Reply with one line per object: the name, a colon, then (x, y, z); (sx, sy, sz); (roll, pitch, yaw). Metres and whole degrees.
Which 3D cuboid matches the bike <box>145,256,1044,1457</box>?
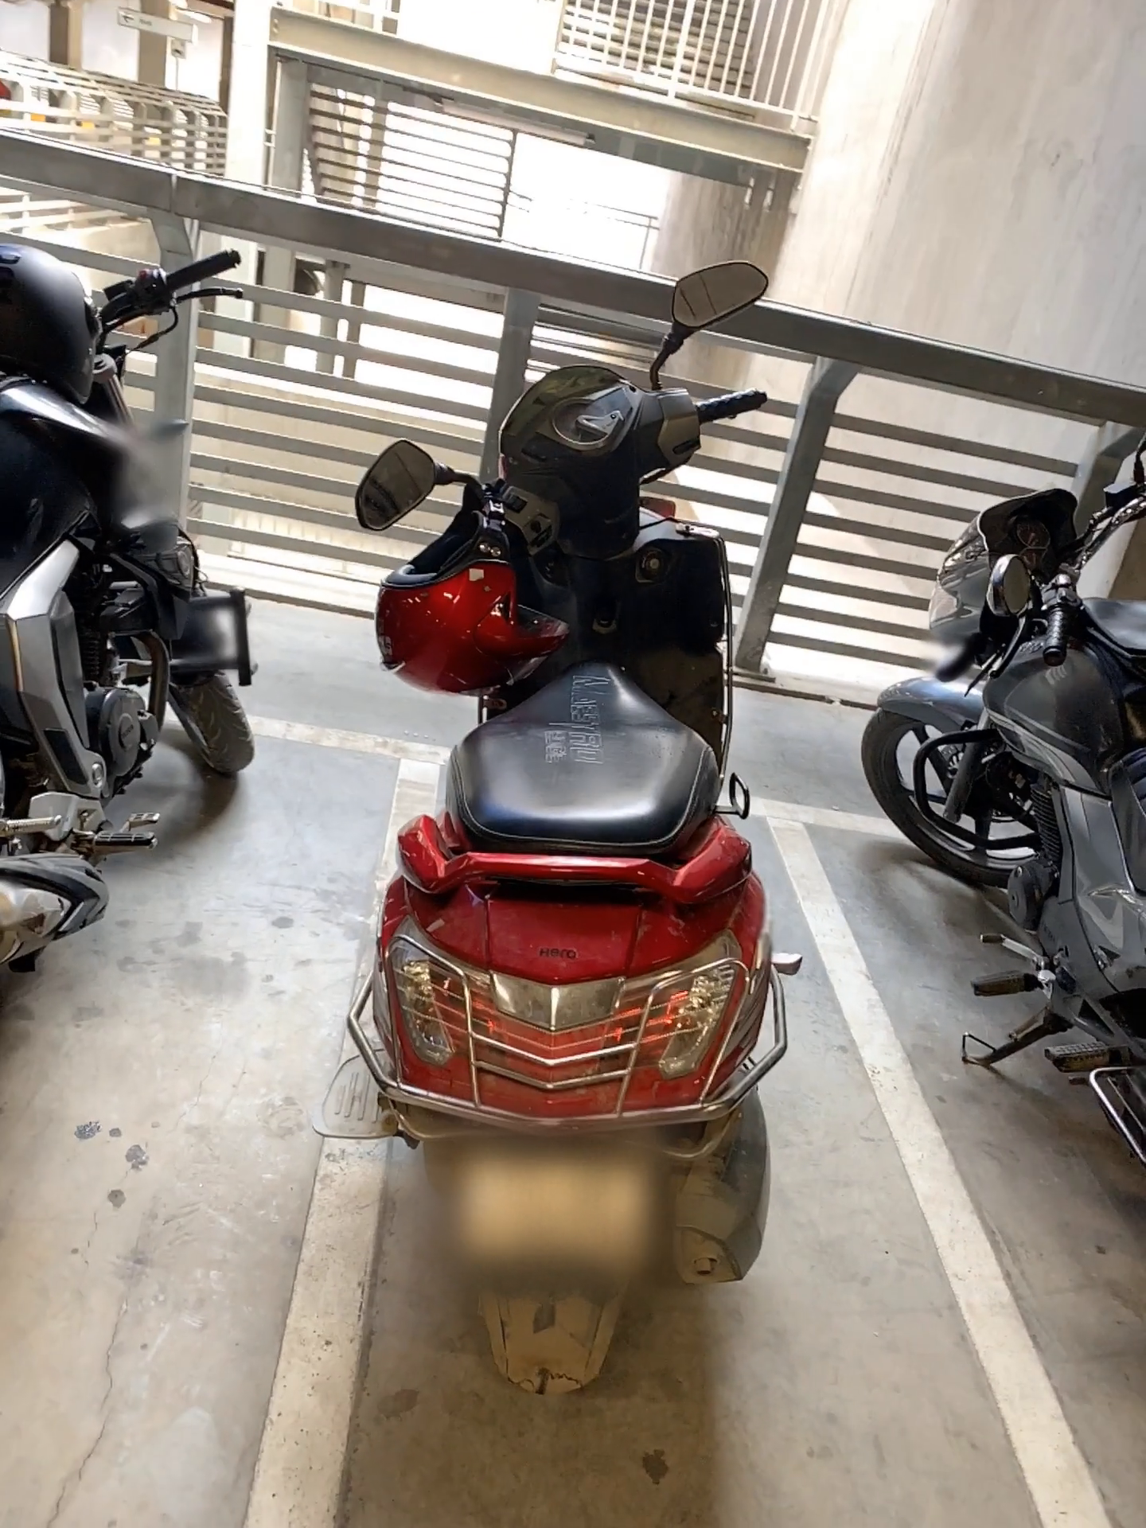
bike: (-0.105, -0.104, 2.056); (0.725, 1.165, 1.857); (9, 27, -8)
